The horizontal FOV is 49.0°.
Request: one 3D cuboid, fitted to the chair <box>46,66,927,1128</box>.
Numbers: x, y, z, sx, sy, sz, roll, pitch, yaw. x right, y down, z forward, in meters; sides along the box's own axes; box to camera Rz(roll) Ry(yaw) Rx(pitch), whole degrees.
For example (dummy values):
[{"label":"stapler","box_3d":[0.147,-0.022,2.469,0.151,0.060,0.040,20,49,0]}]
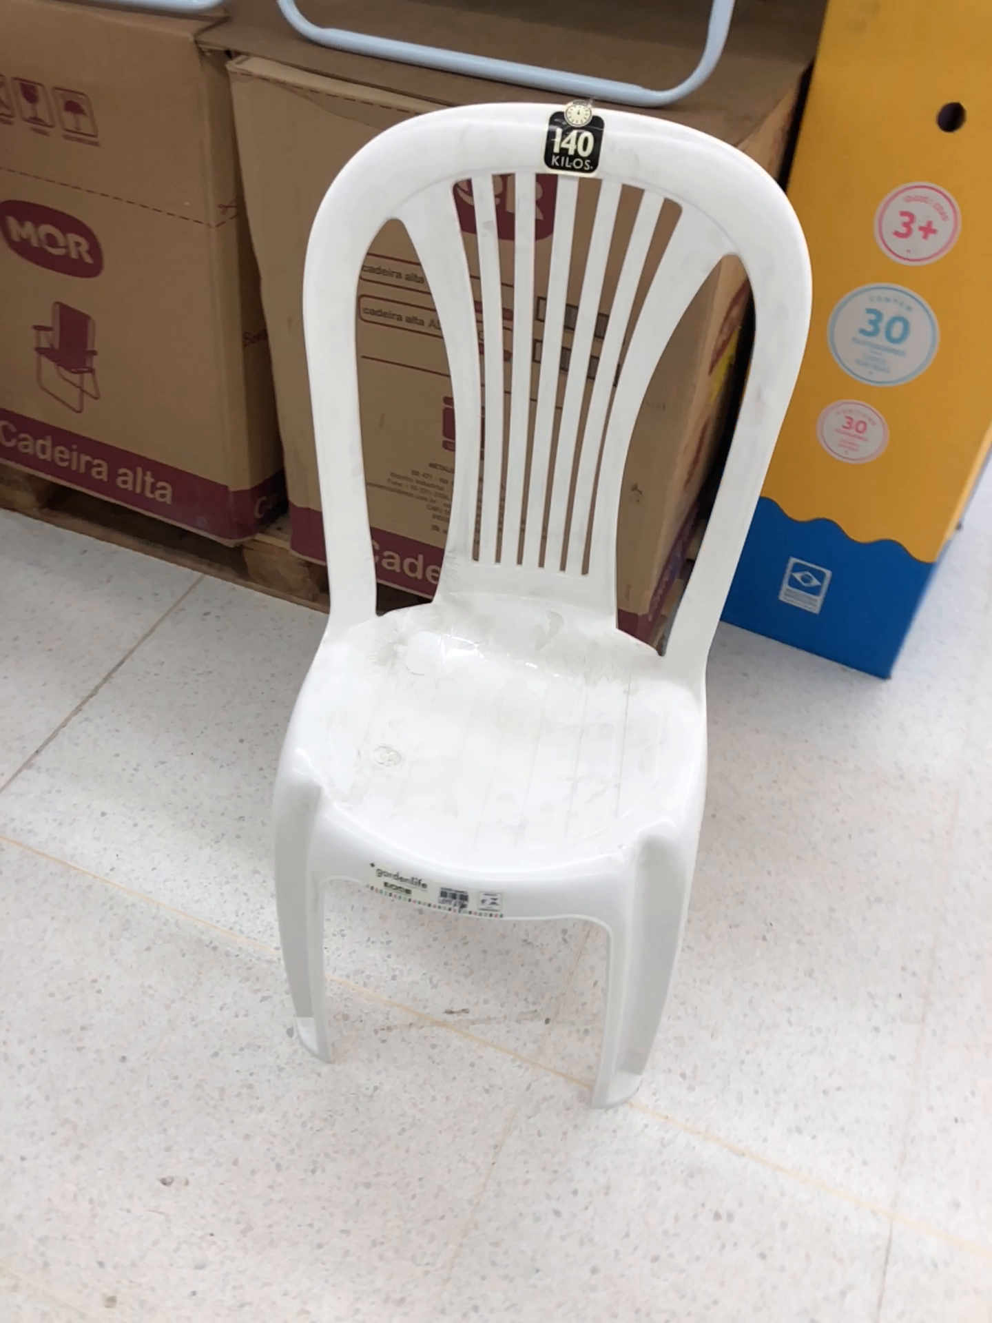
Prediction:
[{"label":"chair","box_3d":[0.006,-0.001,0.997,0.440,0.835,0.463,6,45,4]}]
